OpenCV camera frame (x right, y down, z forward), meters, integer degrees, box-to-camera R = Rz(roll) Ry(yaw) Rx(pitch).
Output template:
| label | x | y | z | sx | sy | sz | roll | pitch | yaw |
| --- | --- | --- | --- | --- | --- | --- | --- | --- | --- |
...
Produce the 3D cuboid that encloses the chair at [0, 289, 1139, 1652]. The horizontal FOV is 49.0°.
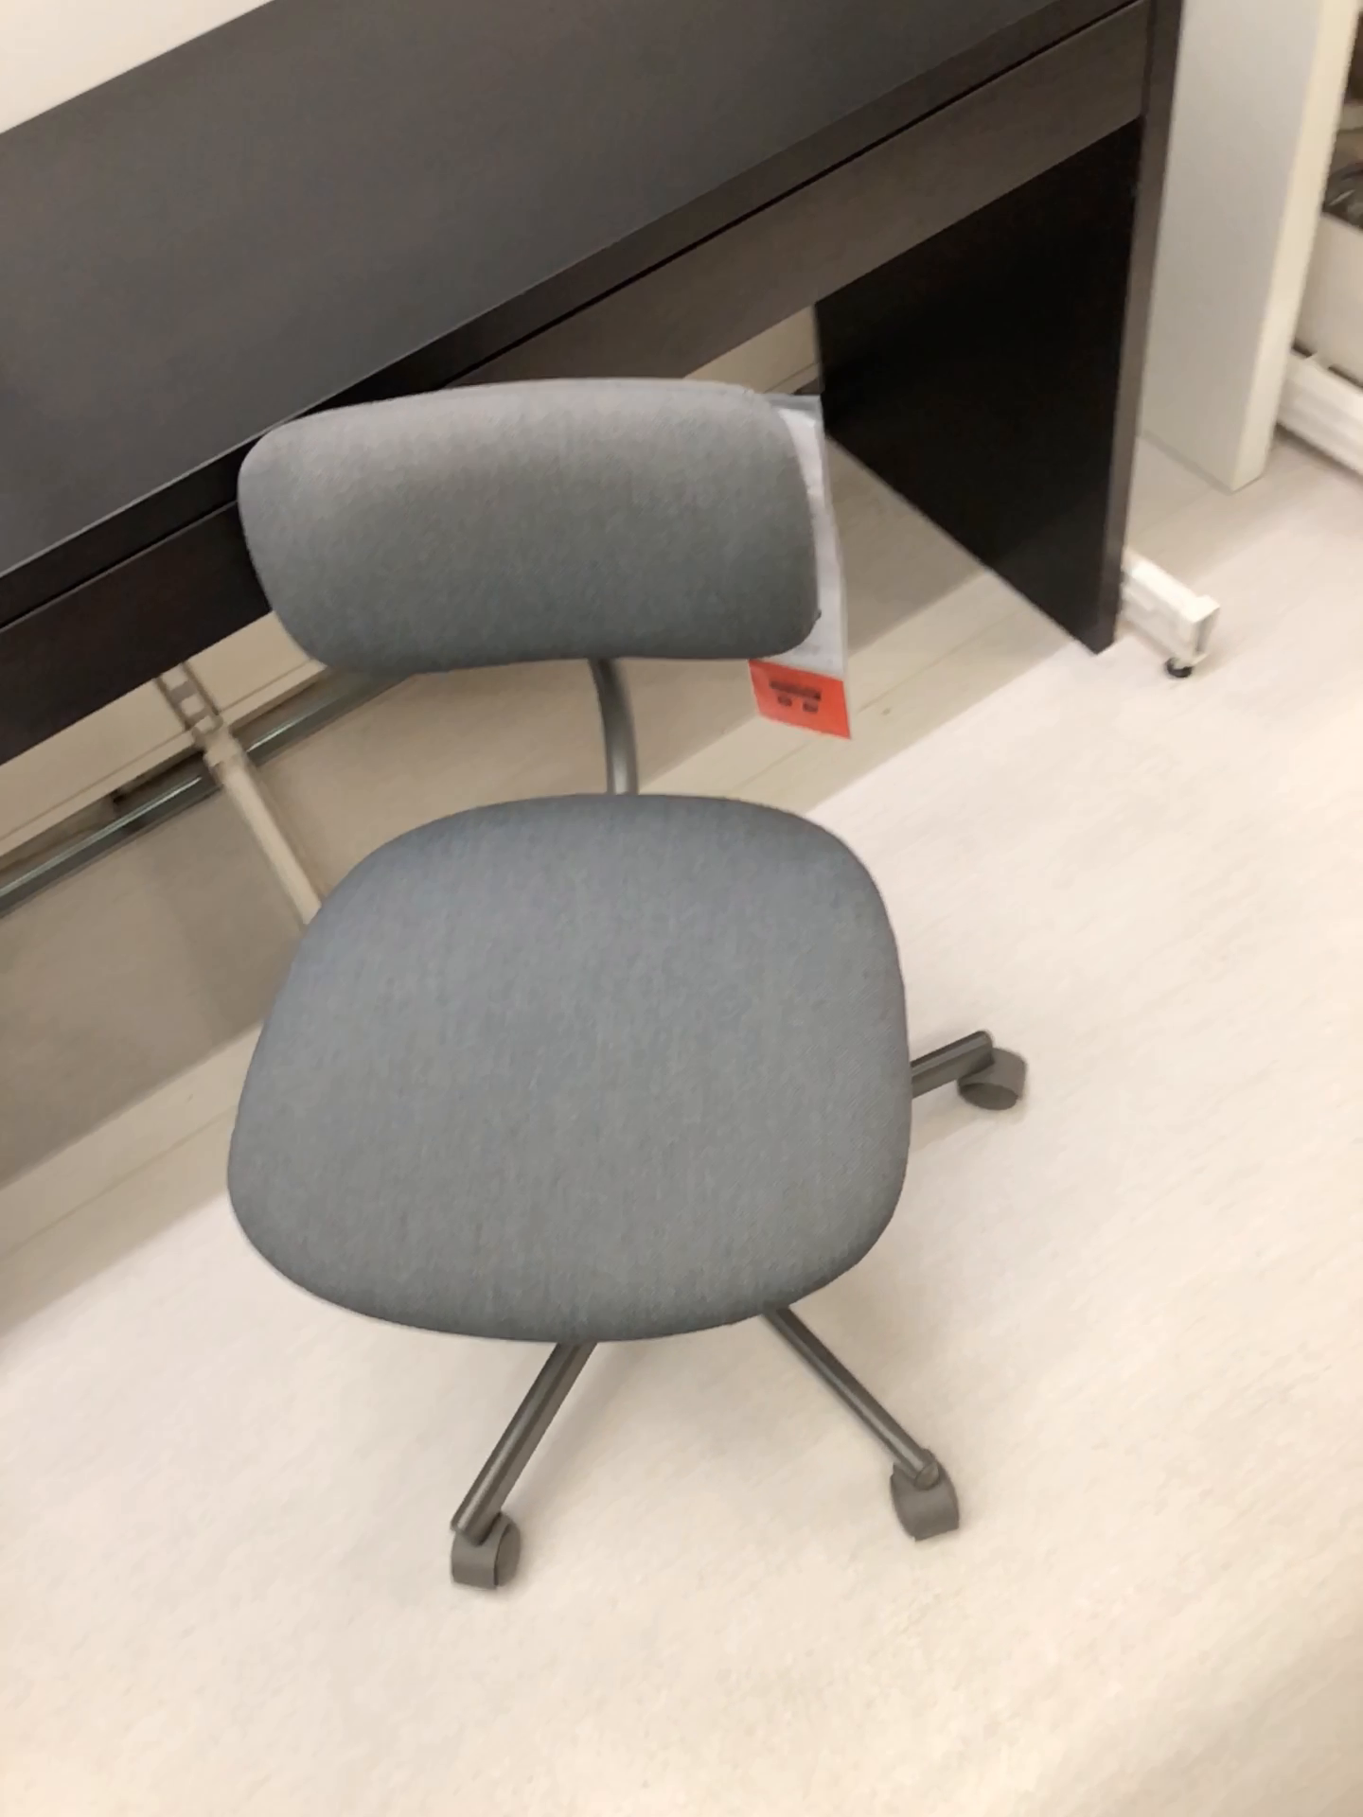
| label | x | y | z | sx | sy | sz | roll | pitch | yaw |
| --- | --- | --- | --- | --- | --- | --- | --- | --- | --- |
| chair | -0.072 | 0.096 | 0.997 | 0.620 | 0.676 | 0.593 | -1 | 56 | 11 |
